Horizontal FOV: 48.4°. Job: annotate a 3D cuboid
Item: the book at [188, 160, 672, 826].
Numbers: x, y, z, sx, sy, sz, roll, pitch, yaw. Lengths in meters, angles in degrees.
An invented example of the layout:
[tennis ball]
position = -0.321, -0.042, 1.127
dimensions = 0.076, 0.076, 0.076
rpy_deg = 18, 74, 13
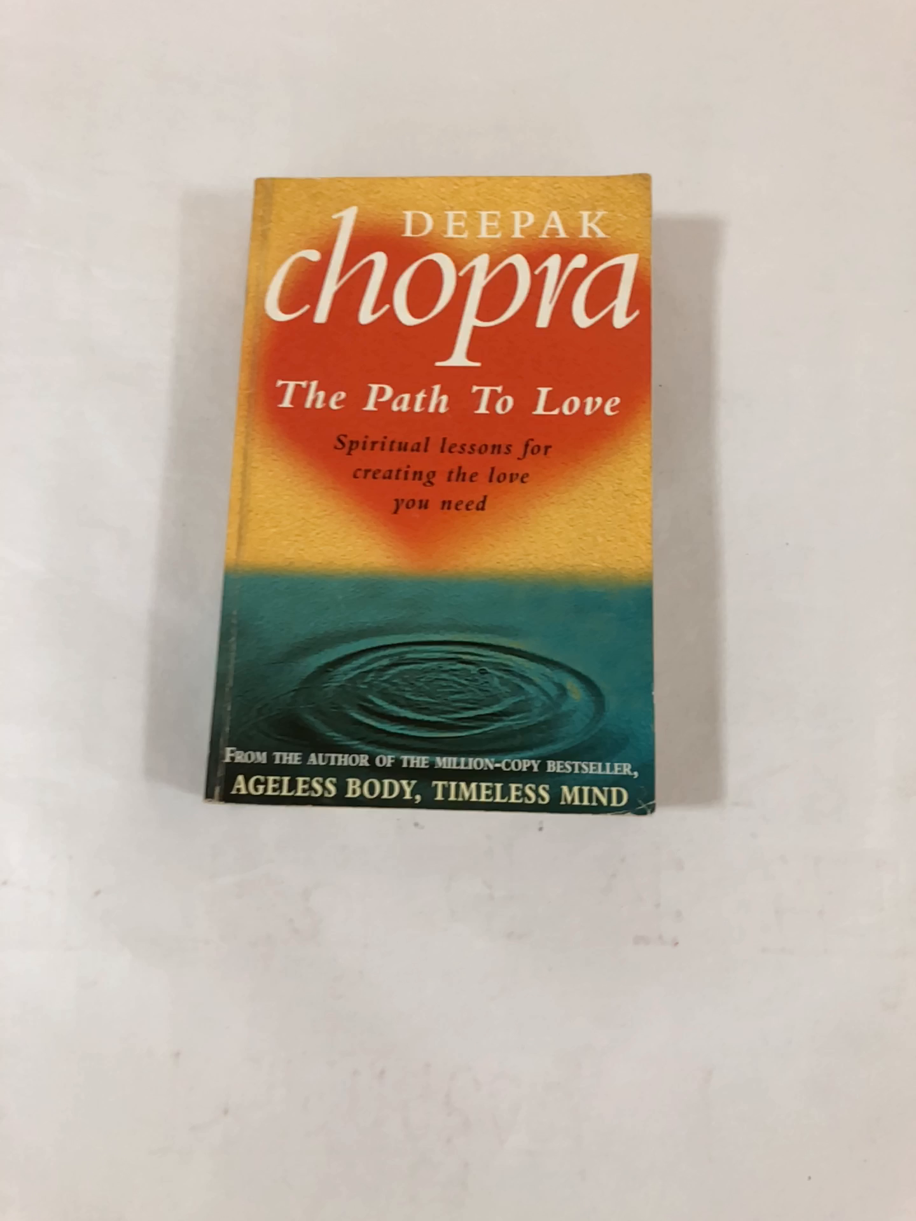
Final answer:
[book]
position = -0.005, -0.038, 0.316
dimensions = 0.130, 0.040, 0.200
rpy_deg = 2, 77, 0
